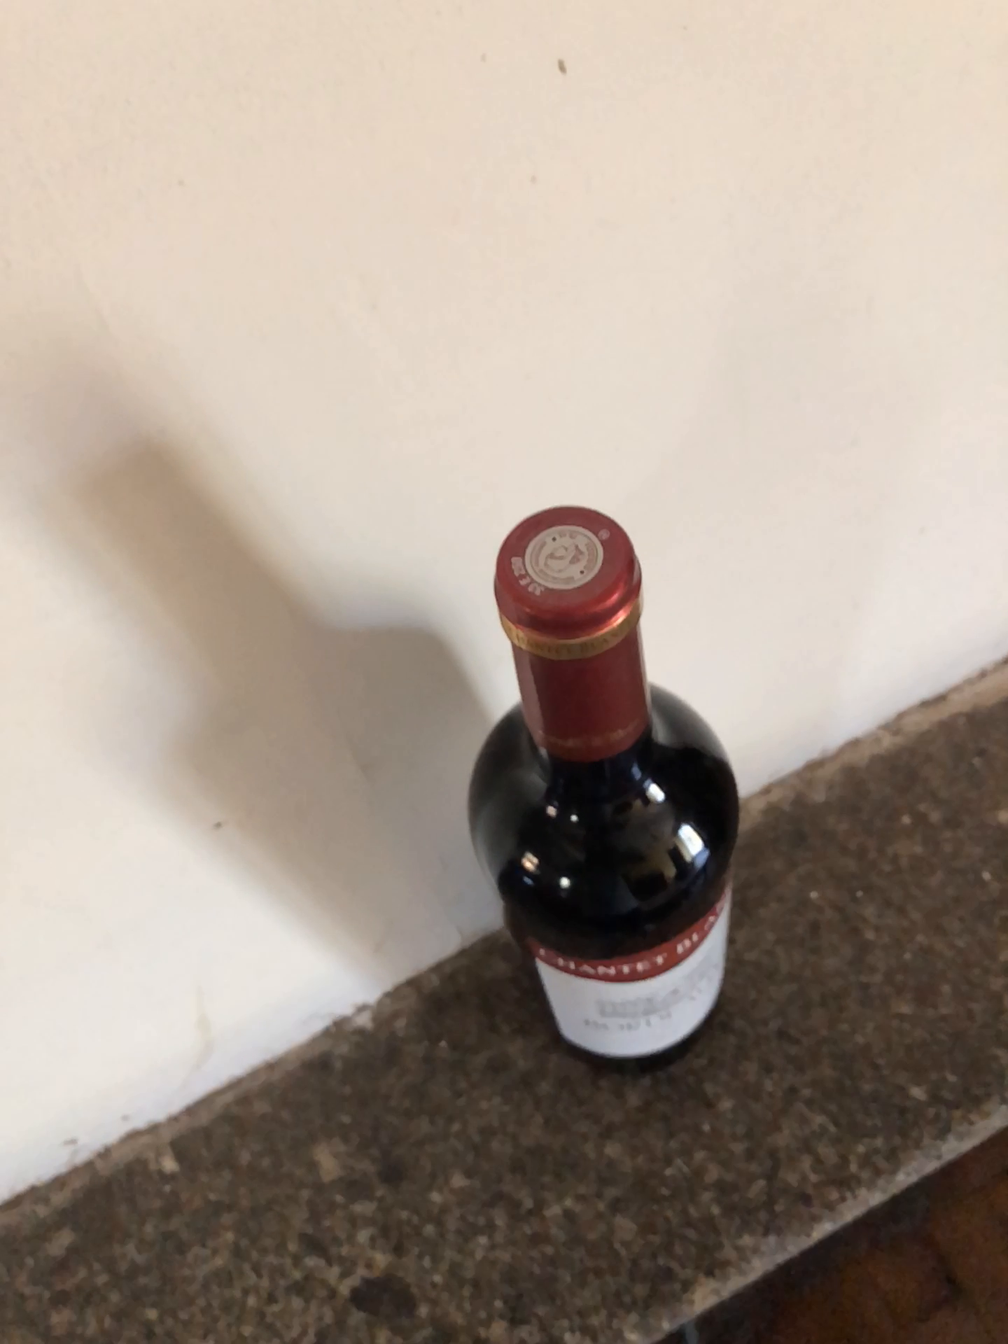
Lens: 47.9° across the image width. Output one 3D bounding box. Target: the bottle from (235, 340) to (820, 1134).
[{"bbox_3d":[0.023,0.053,0.331,0.080,0.289,0.080,-5,59,8],"label":"bottle"}]
